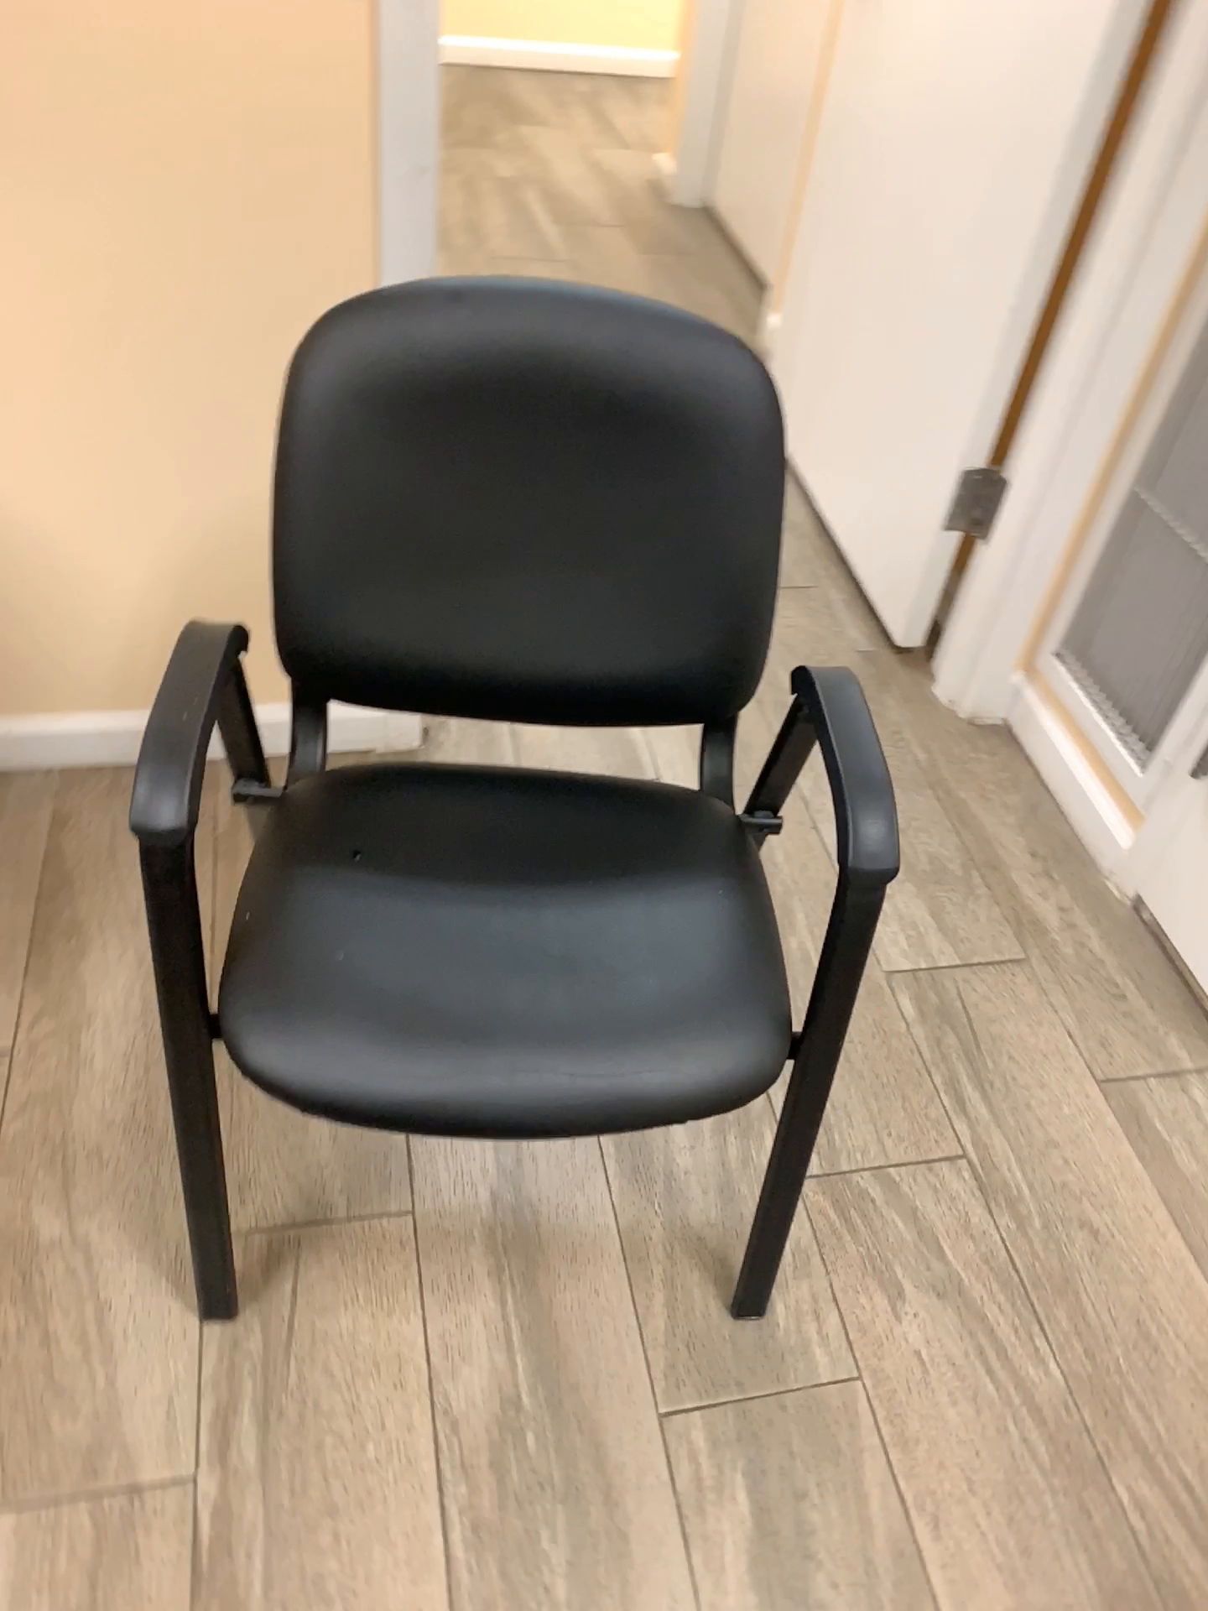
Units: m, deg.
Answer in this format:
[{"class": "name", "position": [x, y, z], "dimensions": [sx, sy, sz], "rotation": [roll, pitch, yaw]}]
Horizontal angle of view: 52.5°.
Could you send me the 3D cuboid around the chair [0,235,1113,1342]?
[{"class": "chair", "position": [-0.069, 0.026, 1.155], "dimensions": [0.605, 0.817, 0.608], "rotation": [3, 44, -6]}]
